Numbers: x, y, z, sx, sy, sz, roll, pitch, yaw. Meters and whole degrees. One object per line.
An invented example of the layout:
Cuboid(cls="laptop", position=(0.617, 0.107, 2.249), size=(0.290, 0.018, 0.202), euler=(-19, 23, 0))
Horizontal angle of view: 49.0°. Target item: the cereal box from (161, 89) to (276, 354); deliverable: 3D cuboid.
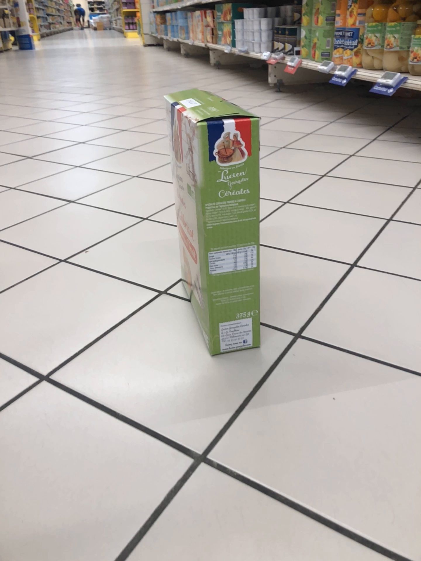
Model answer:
Cuboid(cls="cereal box", position=(0.002, -0.078, 0.528), size=(0.070, 0.239, 0.201), euler=(-8, 29, -11))
